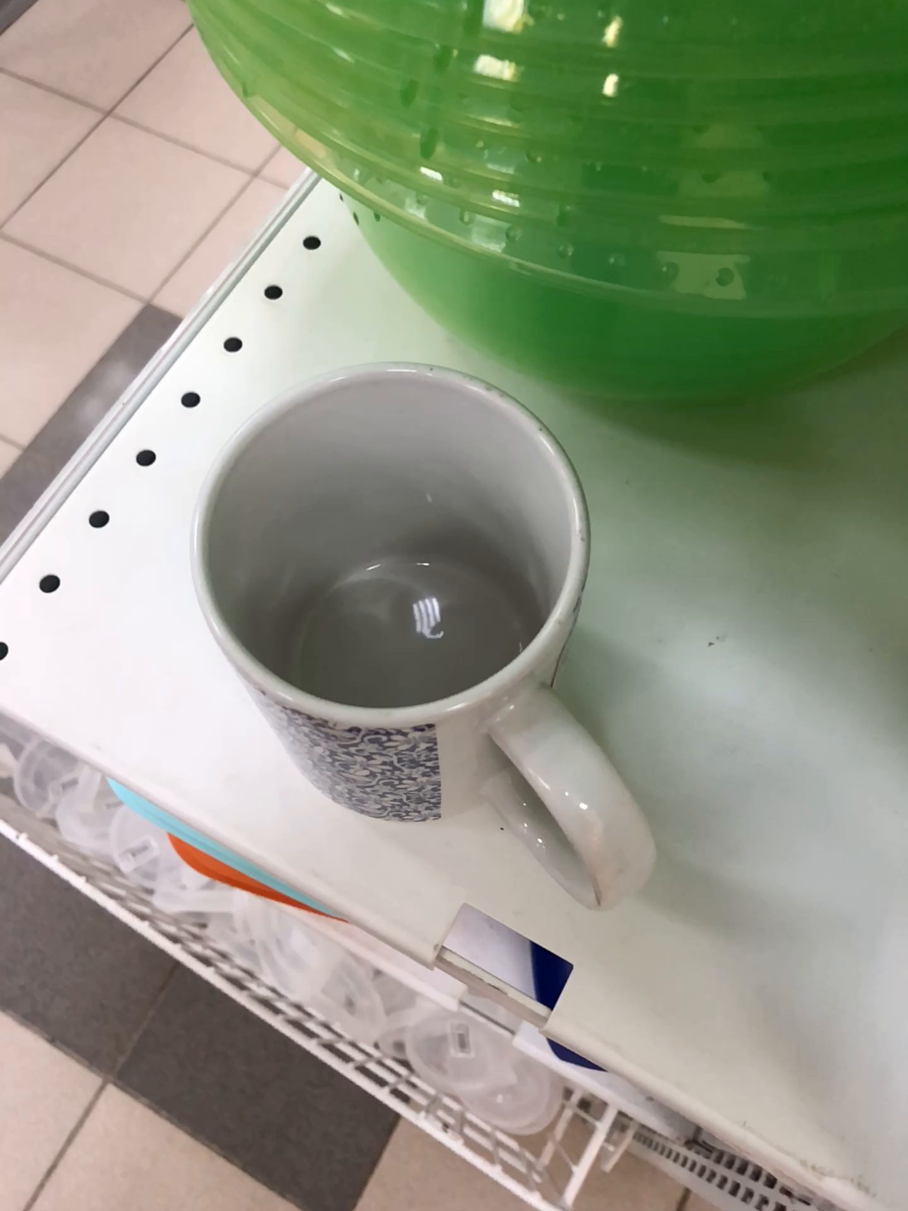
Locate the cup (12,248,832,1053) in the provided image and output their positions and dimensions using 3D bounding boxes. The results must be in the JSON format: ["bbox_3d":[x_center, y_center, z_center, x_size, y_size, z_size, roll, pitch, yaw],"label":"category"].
[{"bbox_3d":[-0.010,0.015,0.241,0.097,0.098,0.138,-35,69,-13],"label":"cup"}]
